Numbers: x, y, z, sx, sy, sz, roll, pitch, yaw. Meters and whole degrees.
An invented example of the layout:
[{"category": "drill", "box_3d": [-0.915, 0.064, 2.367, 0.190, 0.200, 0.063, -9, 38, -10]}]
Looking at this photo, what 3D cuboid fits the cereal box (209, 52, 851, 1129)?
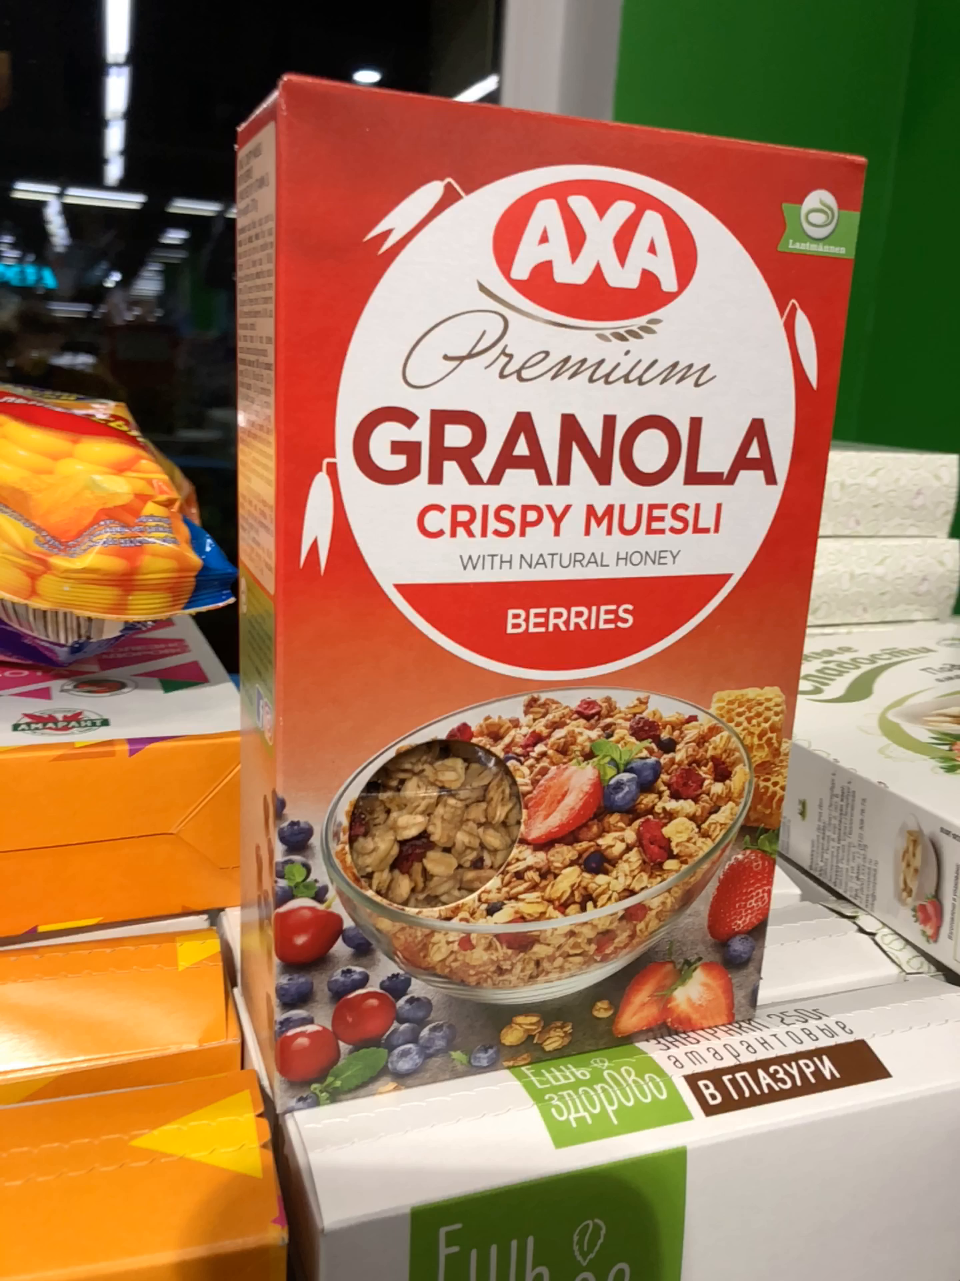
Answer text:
[{"category": "cereal box", "box_3d": [0.004, -0.005, 0.258, 0.130, 0.219, 0.050, -2, 15, -21]}]
